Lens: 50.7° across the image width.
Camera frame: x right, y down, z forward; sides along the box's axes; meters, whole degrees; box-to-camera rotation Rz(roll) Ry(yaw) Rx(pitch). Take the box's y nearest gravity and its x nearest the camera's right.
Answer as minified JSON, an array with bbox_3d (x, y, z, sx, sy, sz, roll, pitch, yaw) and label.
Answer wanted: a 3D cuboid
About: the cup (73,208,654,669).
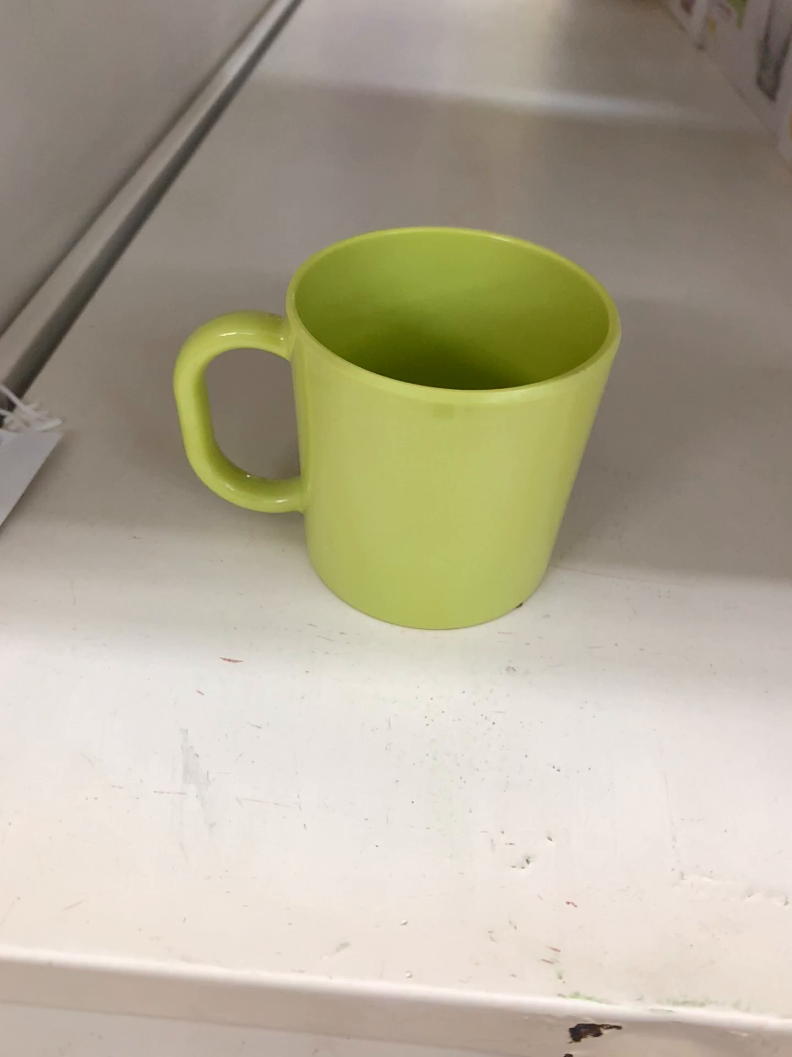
[{"bbox_3d":[-0.005,-0.022,0.193,0.100,0.069,0.071,5,43,2],"label":"cup"}]
